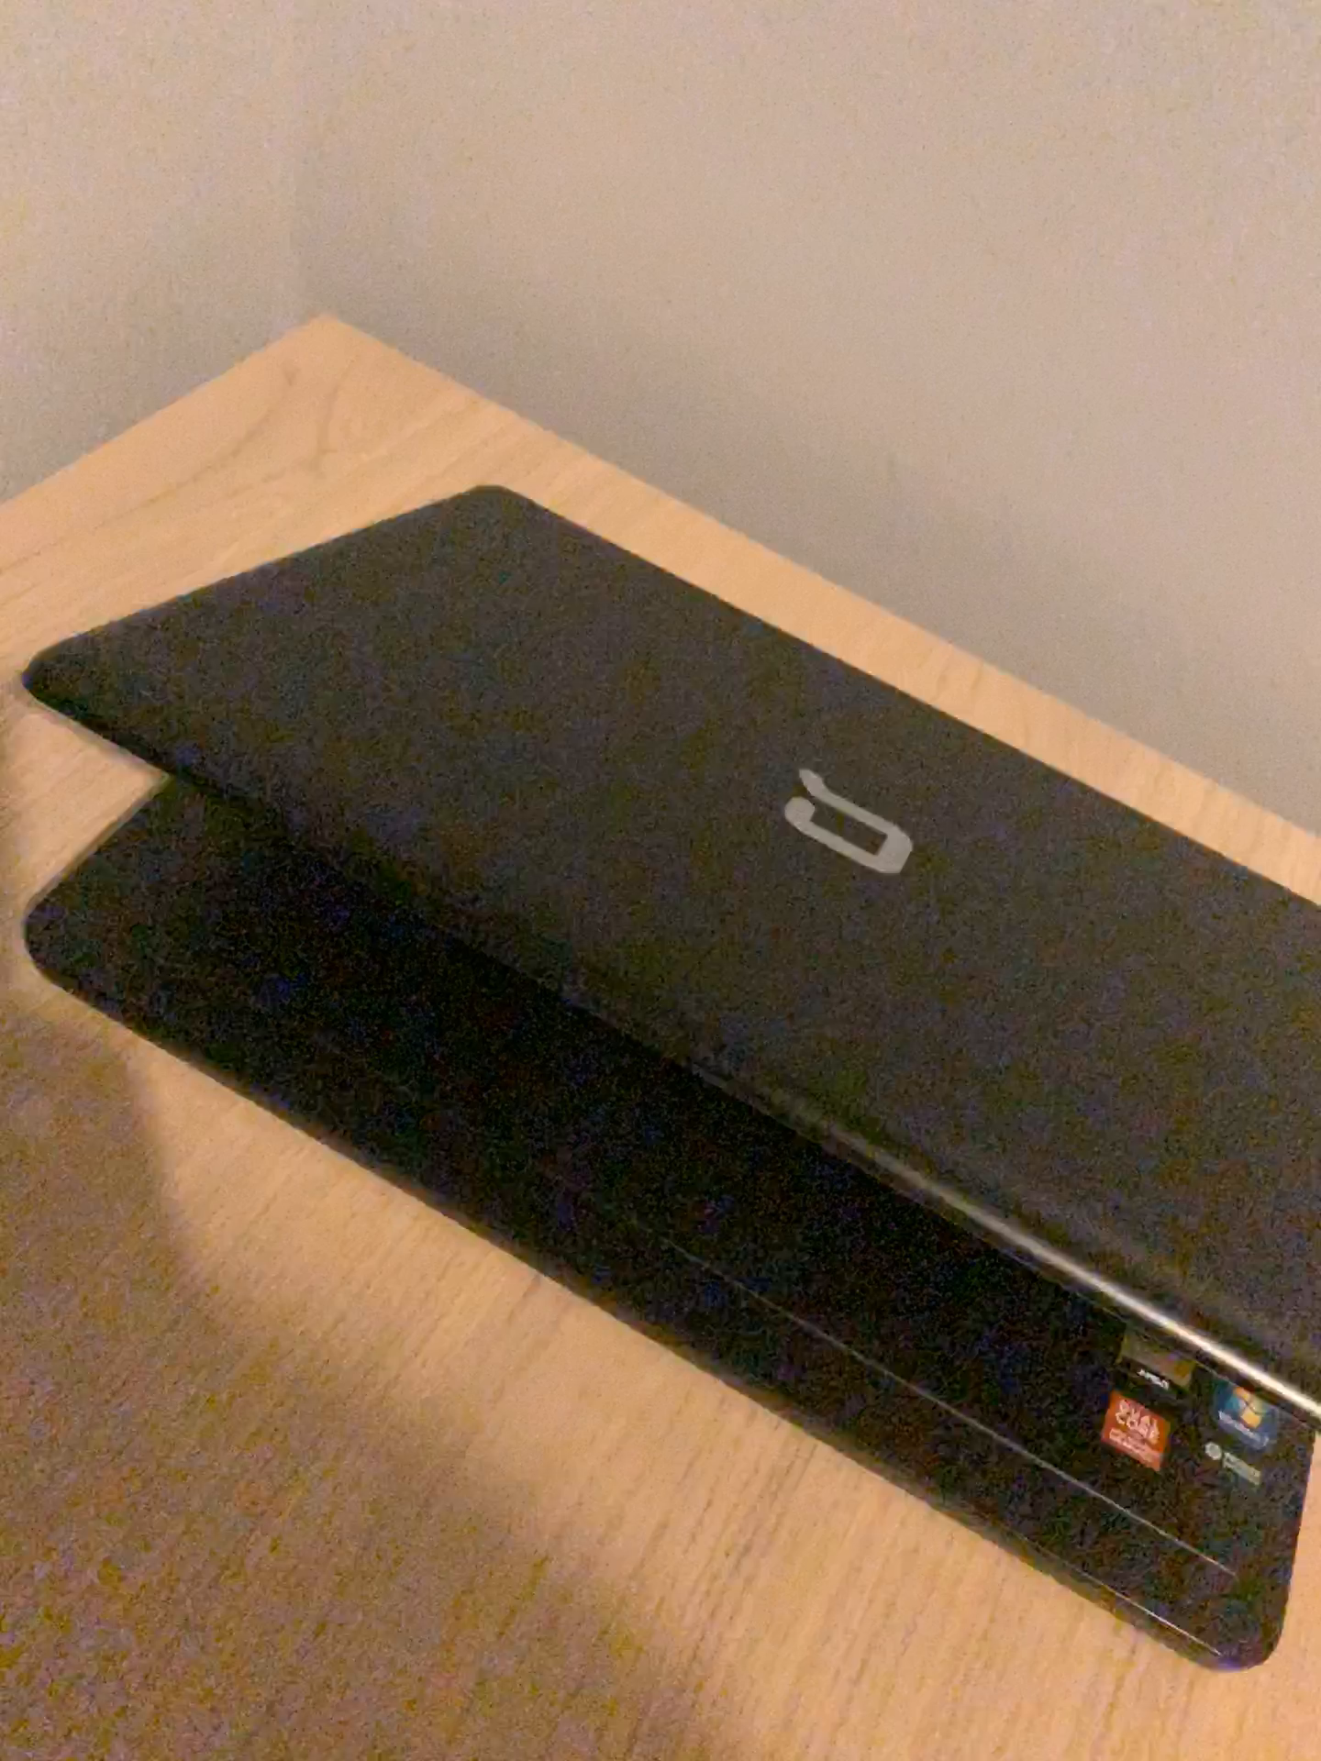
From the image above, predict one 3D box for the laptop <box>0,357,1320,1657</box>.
[{"bbox_3d":[0.042,0.006,0.397,0.373,0.064,0.225,28,55,8],"label":"laptop"}]
